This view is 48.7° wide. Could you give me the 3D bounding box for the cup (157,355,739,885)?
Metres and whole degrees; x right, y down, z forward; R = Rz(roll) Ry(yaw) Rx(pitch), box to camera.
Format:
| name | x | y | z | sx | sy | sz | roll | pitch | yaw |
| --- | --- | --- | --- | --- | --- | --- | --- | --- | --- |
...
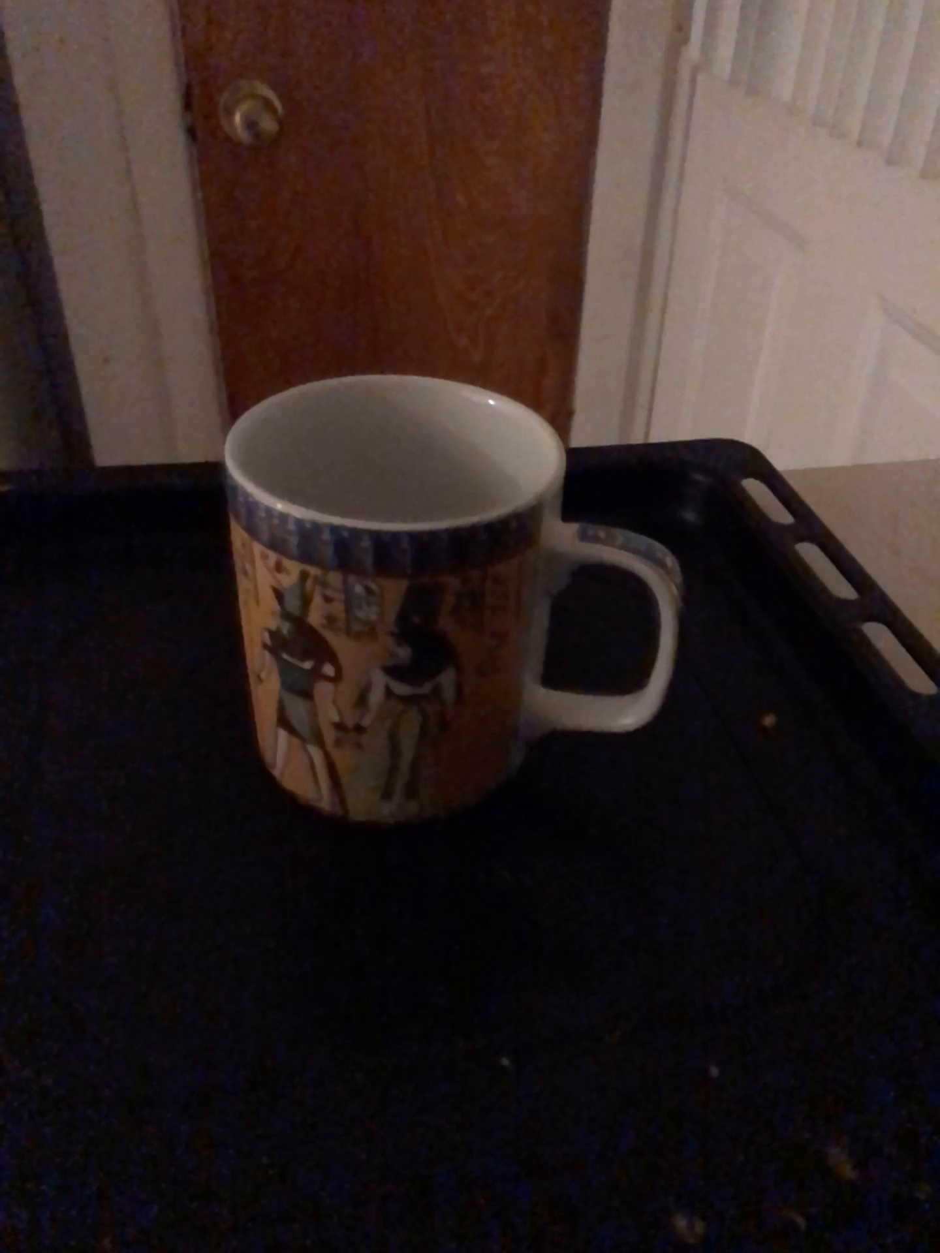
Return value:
| name | x | y | z | sx | sy | sz | roll | pitch | yaw |
| --- | --- | --- | --- | --- | --- | --- | --- | --- | --- |
| cup | 0.000 | -0.005 | 0.268 | 0.120 | 0.089 | 0.081 | 9 | 37 | 9 |
